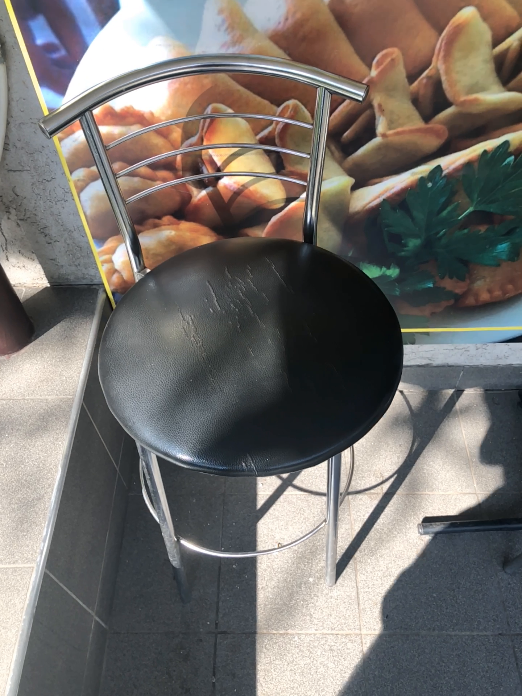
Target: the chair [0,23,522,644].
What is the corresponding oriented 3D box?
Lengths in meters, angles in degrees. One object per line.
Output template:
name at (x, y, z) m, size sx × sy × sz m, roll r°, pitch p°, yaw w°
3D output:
chair at (-0.032, 0.088, 0.944) m, size 0.480 × 0.937 × 0.482 m, roll -8°, pitch 52°, yaw -4°
